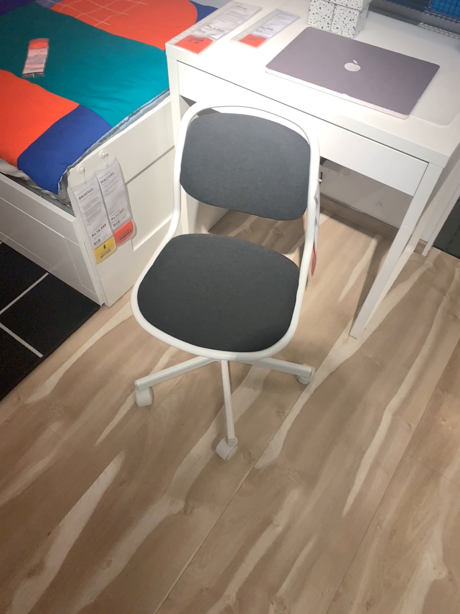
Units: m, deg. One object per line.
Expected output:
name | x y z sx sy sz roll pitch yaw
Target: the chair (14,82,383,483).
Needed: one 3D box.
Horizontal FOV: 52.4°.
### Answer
chair | -0.010 -0.035 1.152 0.550 0.658 0.621 12 55 7
